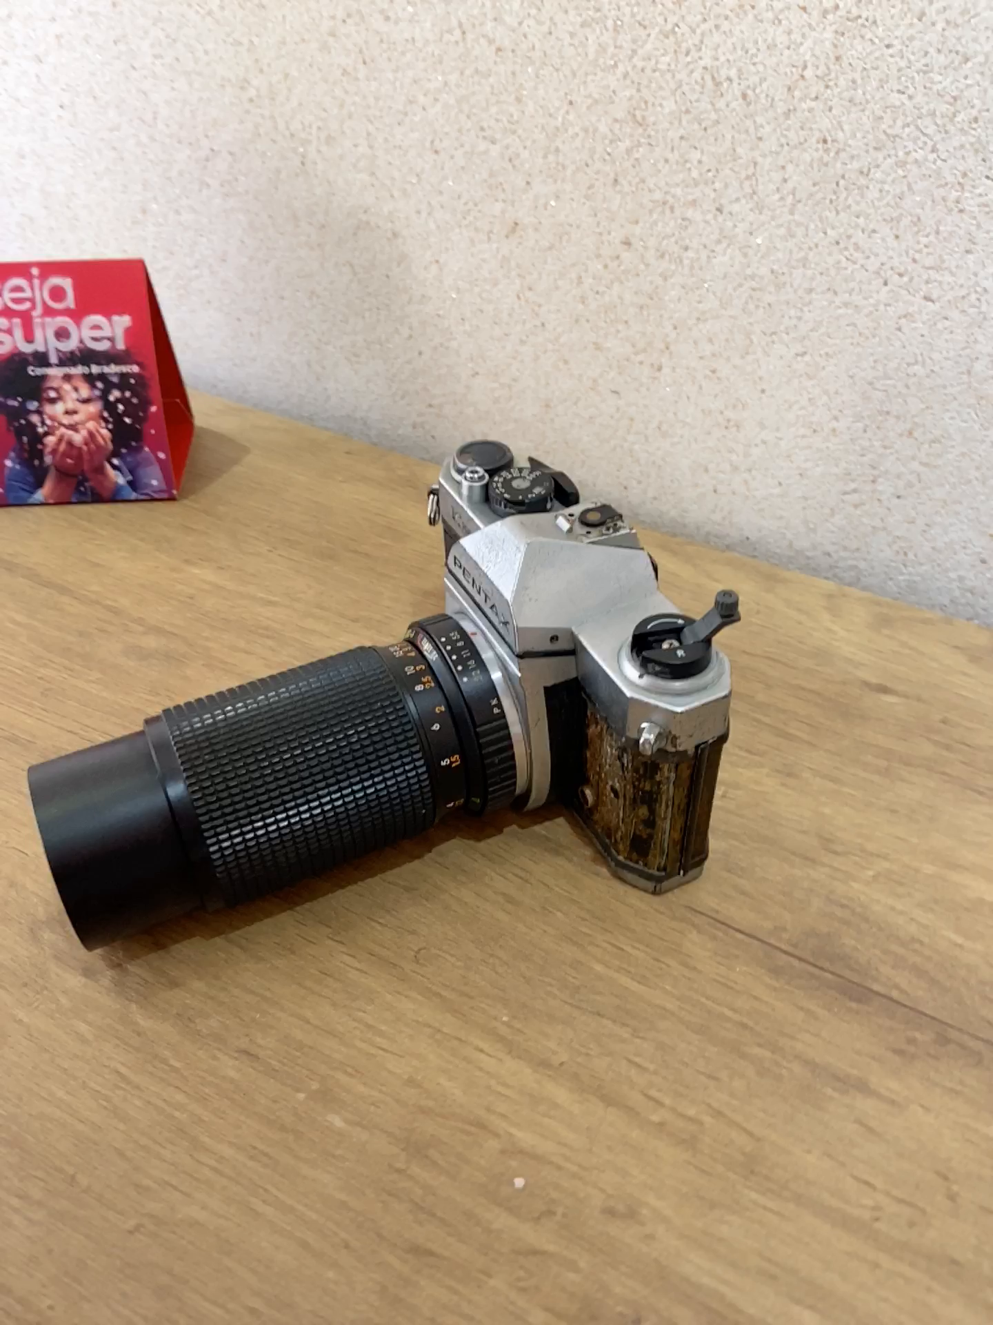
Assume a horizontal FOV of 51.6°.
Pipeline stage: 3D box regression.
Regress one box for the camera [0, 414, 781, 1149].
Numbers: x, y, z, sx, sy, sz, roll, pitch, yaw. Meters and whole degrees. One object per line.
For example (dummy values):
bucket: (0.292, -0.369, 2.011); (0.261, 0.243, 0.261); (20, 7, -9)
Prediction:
camera: (-0.044, 0.013, 0.298); (0.180, 0.080, 0.151); (-18, 42, -21)
